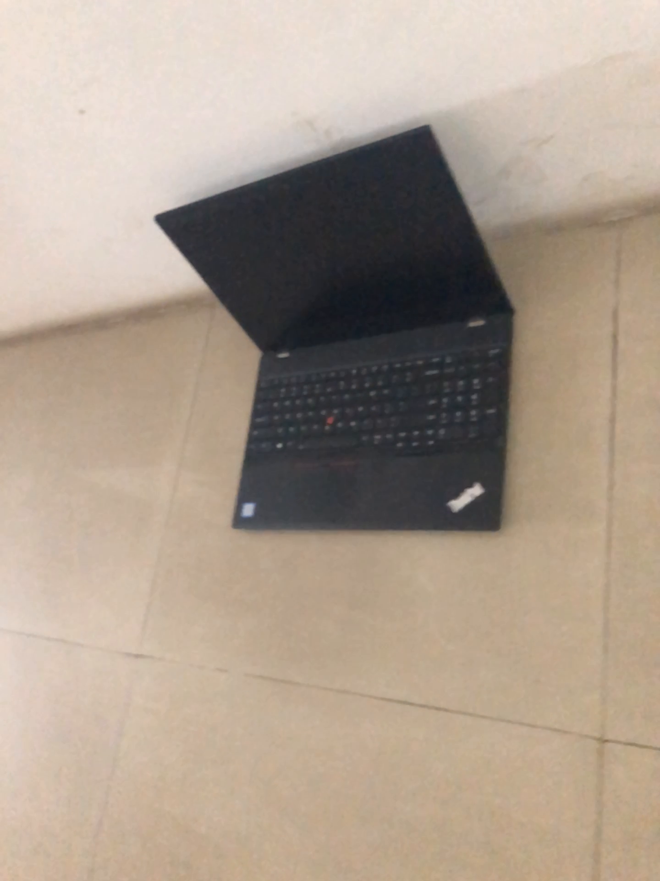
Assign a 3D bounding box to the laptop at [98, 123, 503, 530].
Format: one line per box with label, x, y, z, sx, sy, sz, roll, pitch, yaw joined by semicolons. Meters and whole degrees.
laptop;-0.024;-0.089;0.806;0.351;0.215;0.327;-4;70;34
